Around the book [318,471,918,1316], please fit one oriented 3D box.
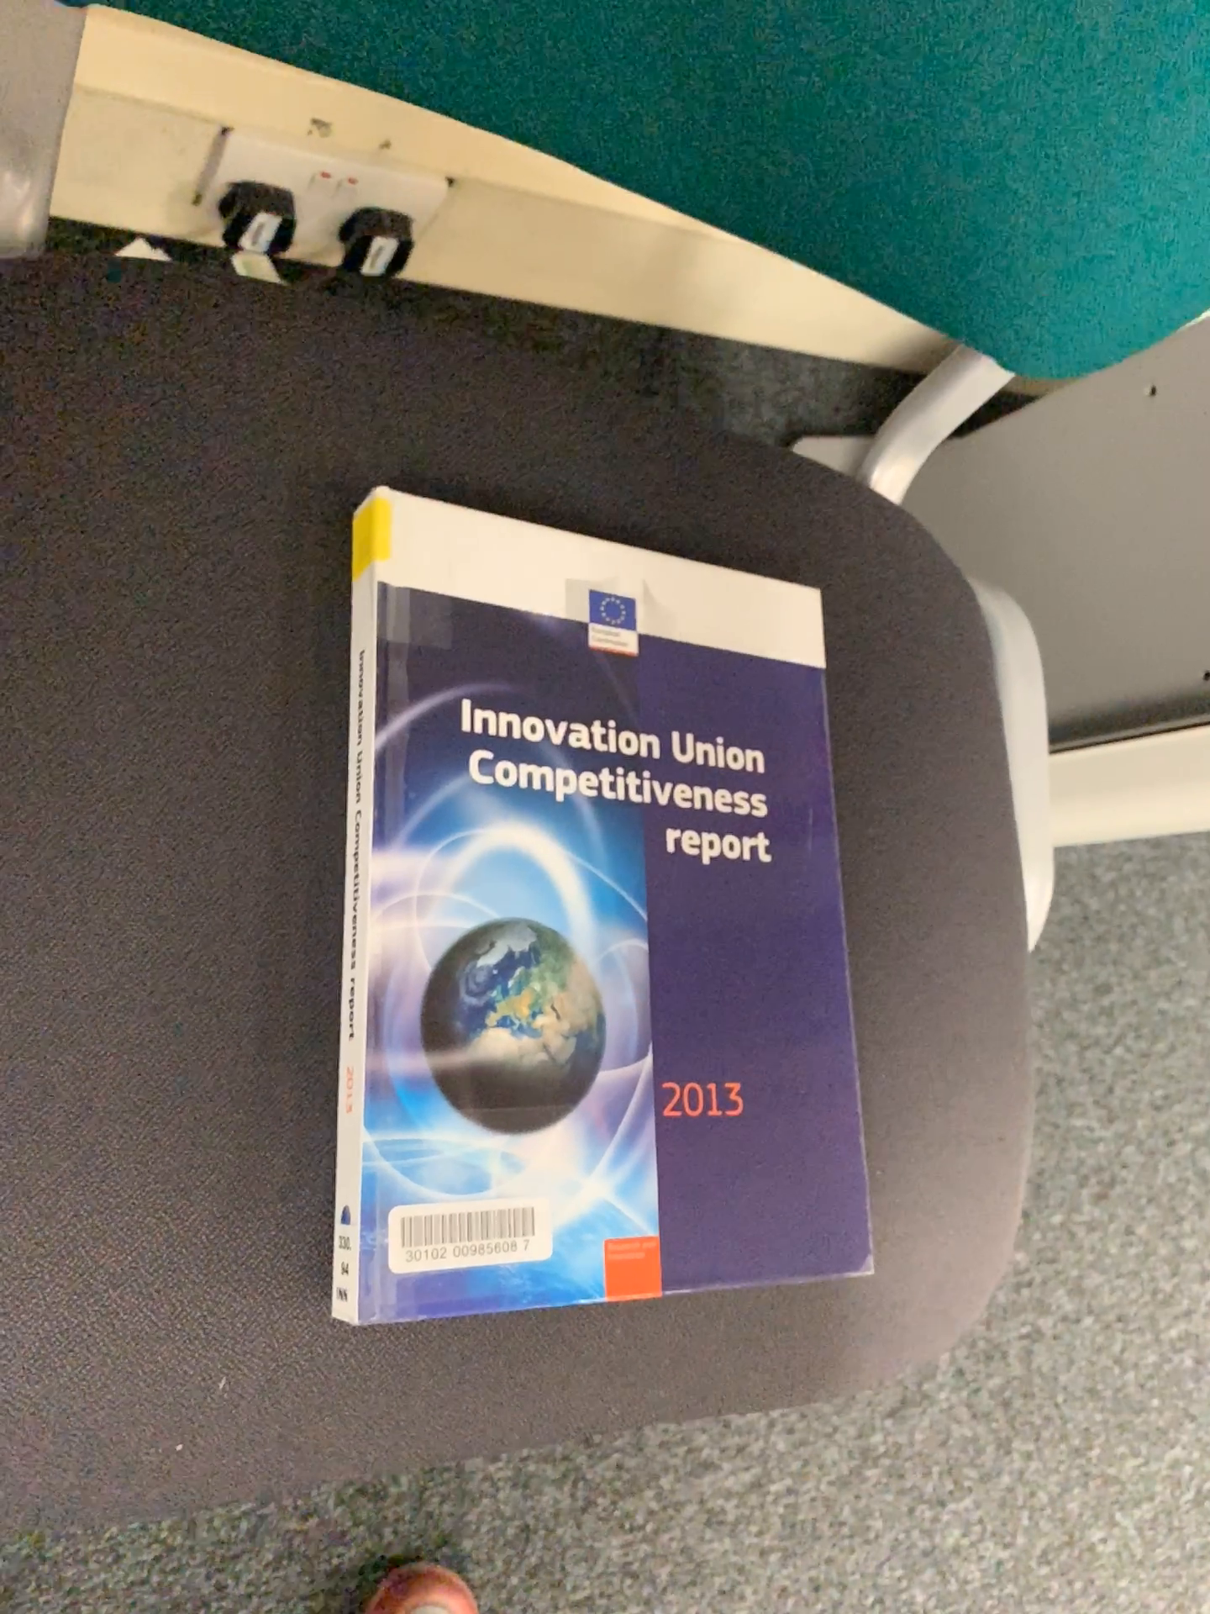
[{"bbox_3d":[0.009,0.027,0.416,0.194,0.026,0.250,7,72,-26],"label":"book"}]
